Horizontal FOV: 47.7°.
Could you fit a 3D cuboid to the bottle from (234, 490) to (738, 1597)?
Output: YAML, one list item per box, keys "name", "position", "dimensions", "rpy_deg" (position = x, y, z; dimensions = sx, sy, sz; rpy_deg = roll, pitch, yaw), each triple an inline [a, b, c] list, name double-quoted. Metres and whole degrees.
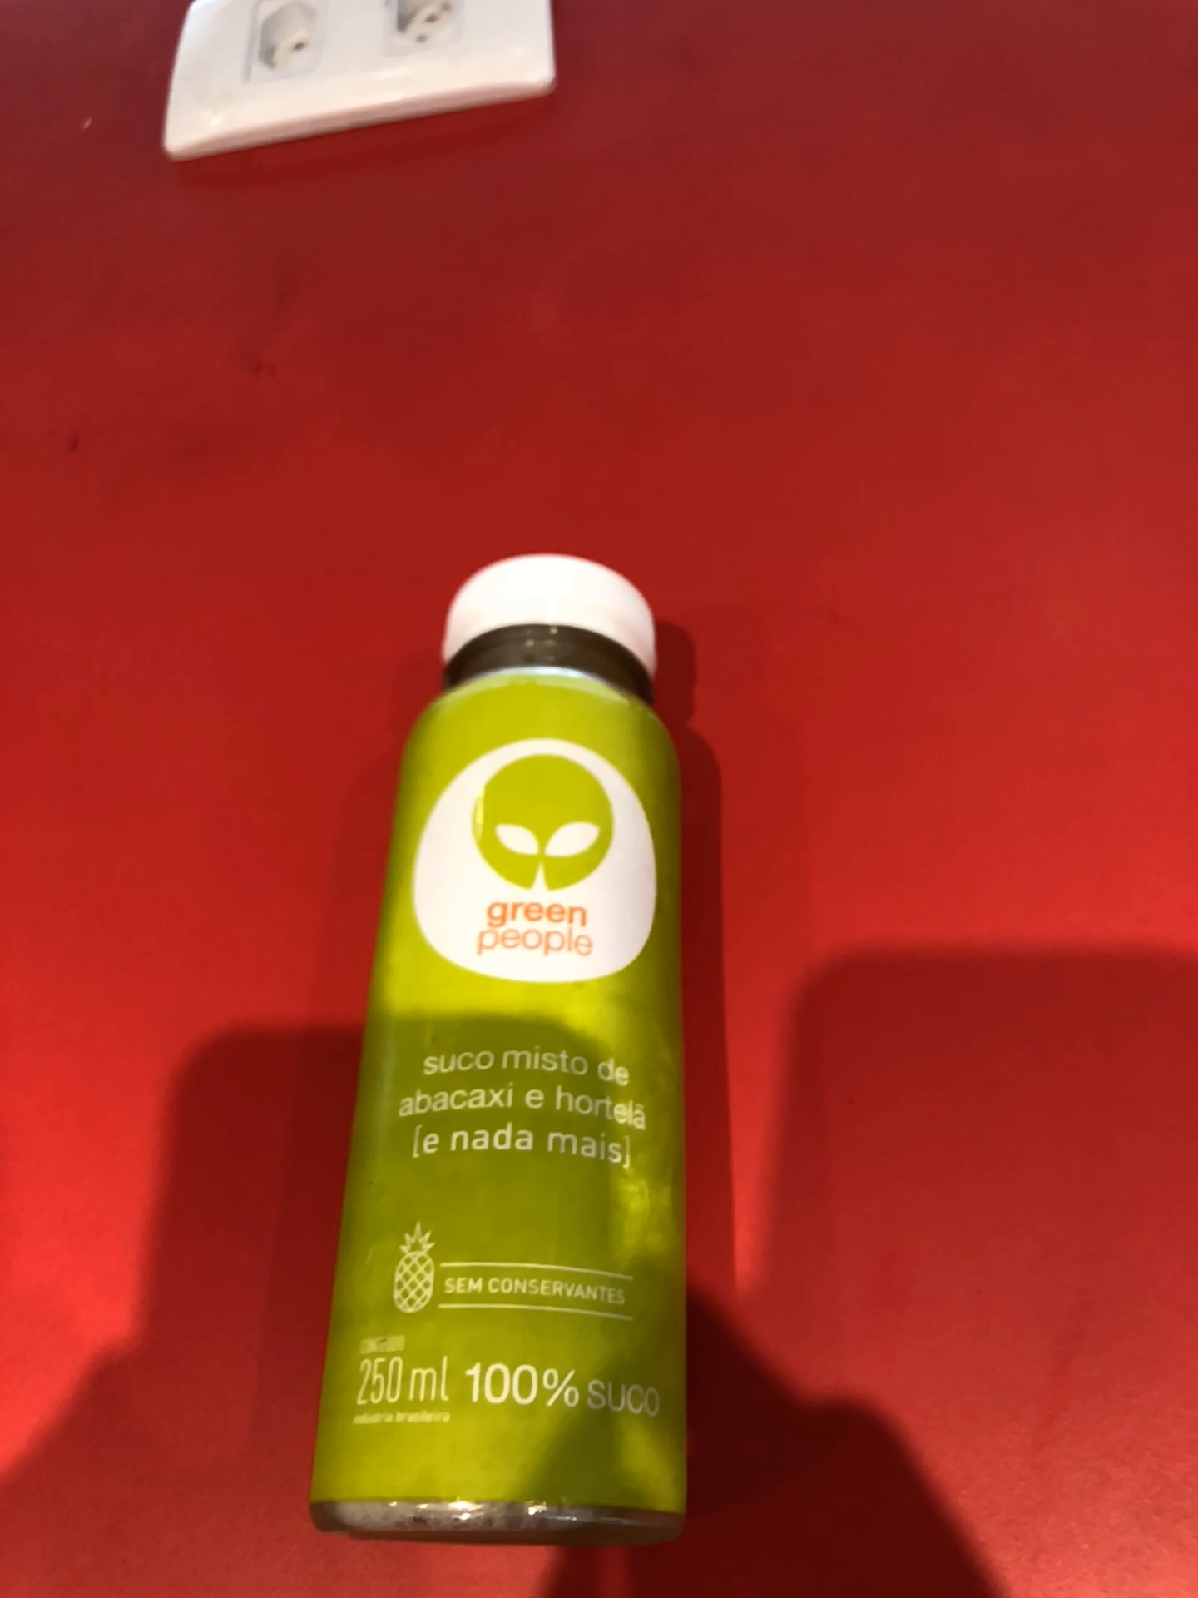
- name: "bottle"
  position: [-0.012, 0.037, 0.222]
  dimensions: [0.060, 0.050, 0.171]
  rpy_deg: [5, 65, -4]
